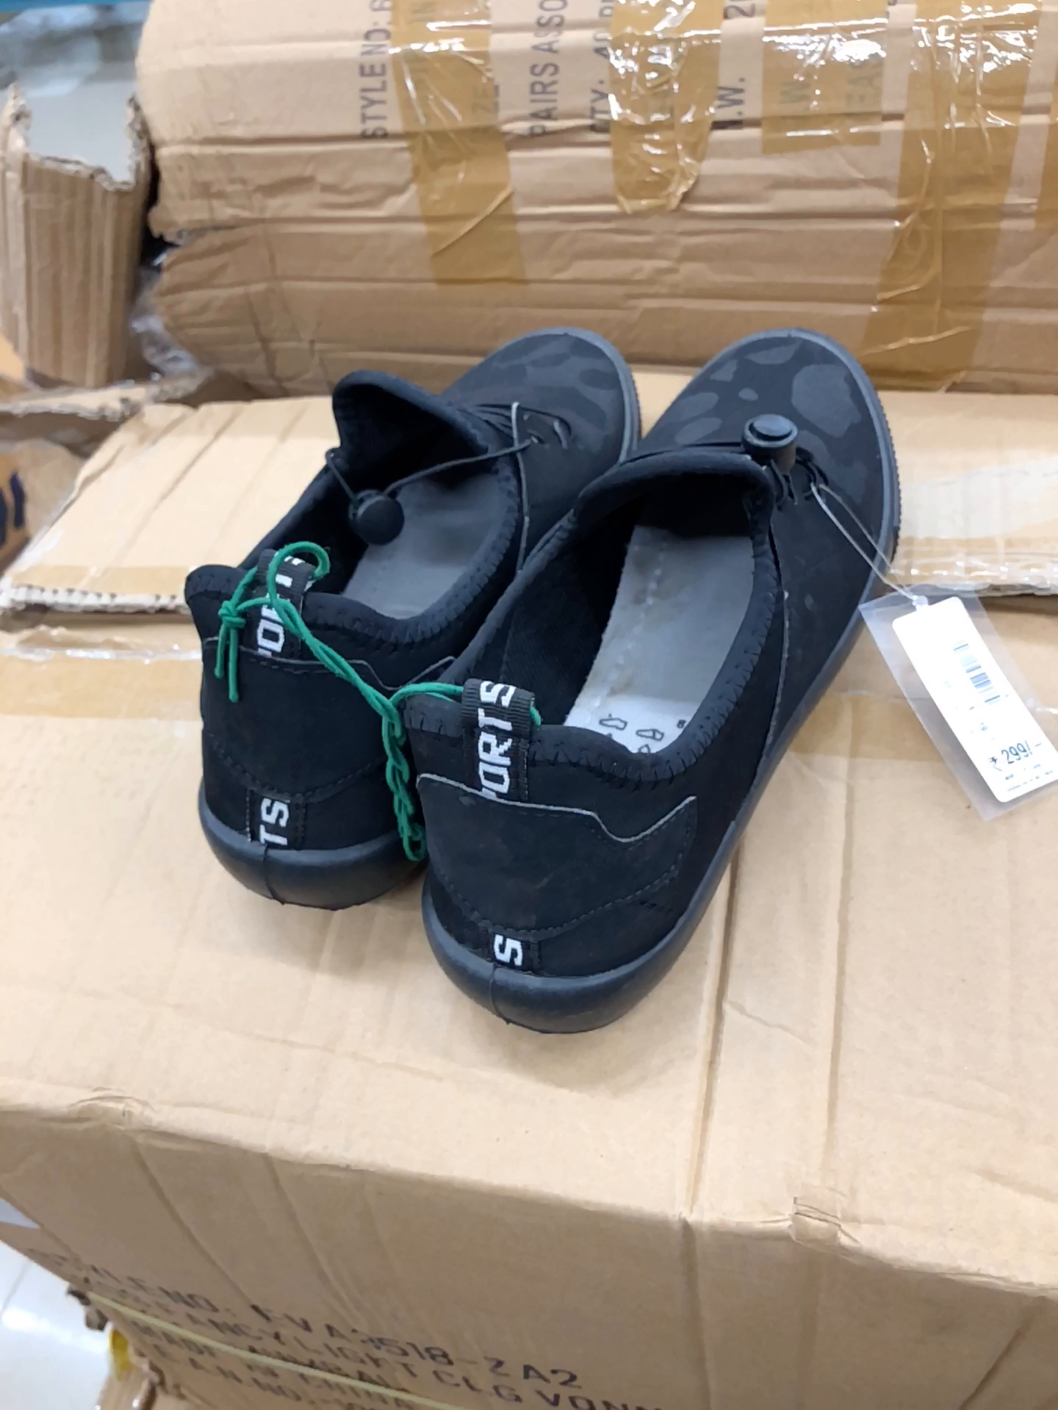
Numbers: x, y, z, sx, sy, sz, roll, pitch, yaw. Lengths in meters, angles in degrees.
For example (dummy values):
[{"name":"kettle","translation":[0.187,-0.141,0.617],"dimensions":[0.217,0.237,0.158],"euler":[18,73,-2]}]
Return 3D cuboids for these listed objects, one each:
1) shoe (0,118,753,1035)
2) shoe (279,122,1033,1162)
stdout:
[{"name":"shoe","translation":[-0.017,-0.071,0.405],"dimensions":[0.120,0.129,0.312],"euler":[10,50,19]},{"name":"shoe","translation":[0.069,-0.051,0.374],"dimensions":[0.120,0.129,0.322],"euler":[11,50,20]}]
